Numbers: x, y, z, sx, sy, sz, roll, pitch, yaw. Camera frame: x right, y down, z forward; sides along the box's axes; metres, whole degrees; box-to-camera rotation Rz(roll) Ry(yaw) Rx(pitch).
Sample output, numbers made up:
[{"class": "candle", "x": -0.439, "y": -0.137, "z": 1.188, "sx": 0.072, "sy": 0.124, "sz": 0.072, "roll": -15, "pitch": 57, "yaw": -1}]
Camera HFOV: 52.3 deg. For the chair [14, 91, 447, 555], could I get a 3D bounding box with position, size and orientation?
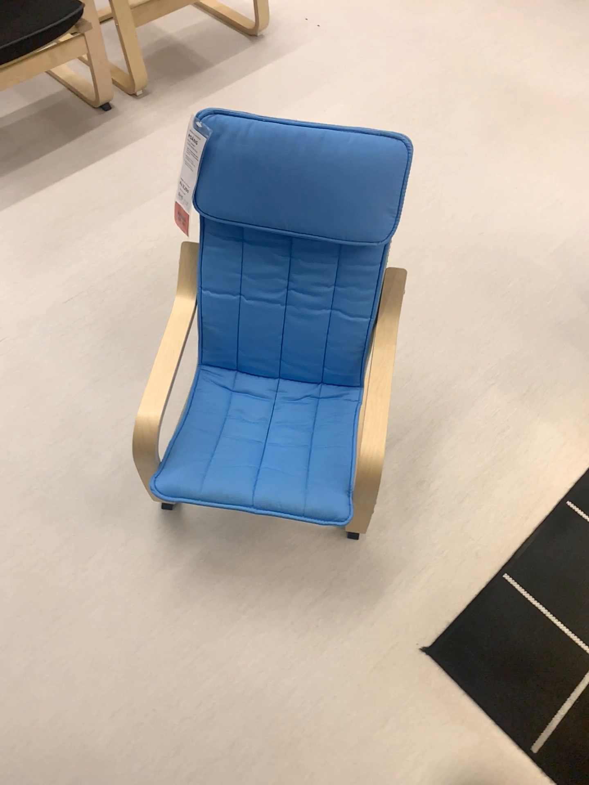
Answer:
[{"class": "chair", "x": -0.053, "y": -0.085, "z": 1.112, "sx": 0.510, "sy": 0.639, "sz": 0.501, "roll": 8, "pitch": 57, "yaw": 4}]
